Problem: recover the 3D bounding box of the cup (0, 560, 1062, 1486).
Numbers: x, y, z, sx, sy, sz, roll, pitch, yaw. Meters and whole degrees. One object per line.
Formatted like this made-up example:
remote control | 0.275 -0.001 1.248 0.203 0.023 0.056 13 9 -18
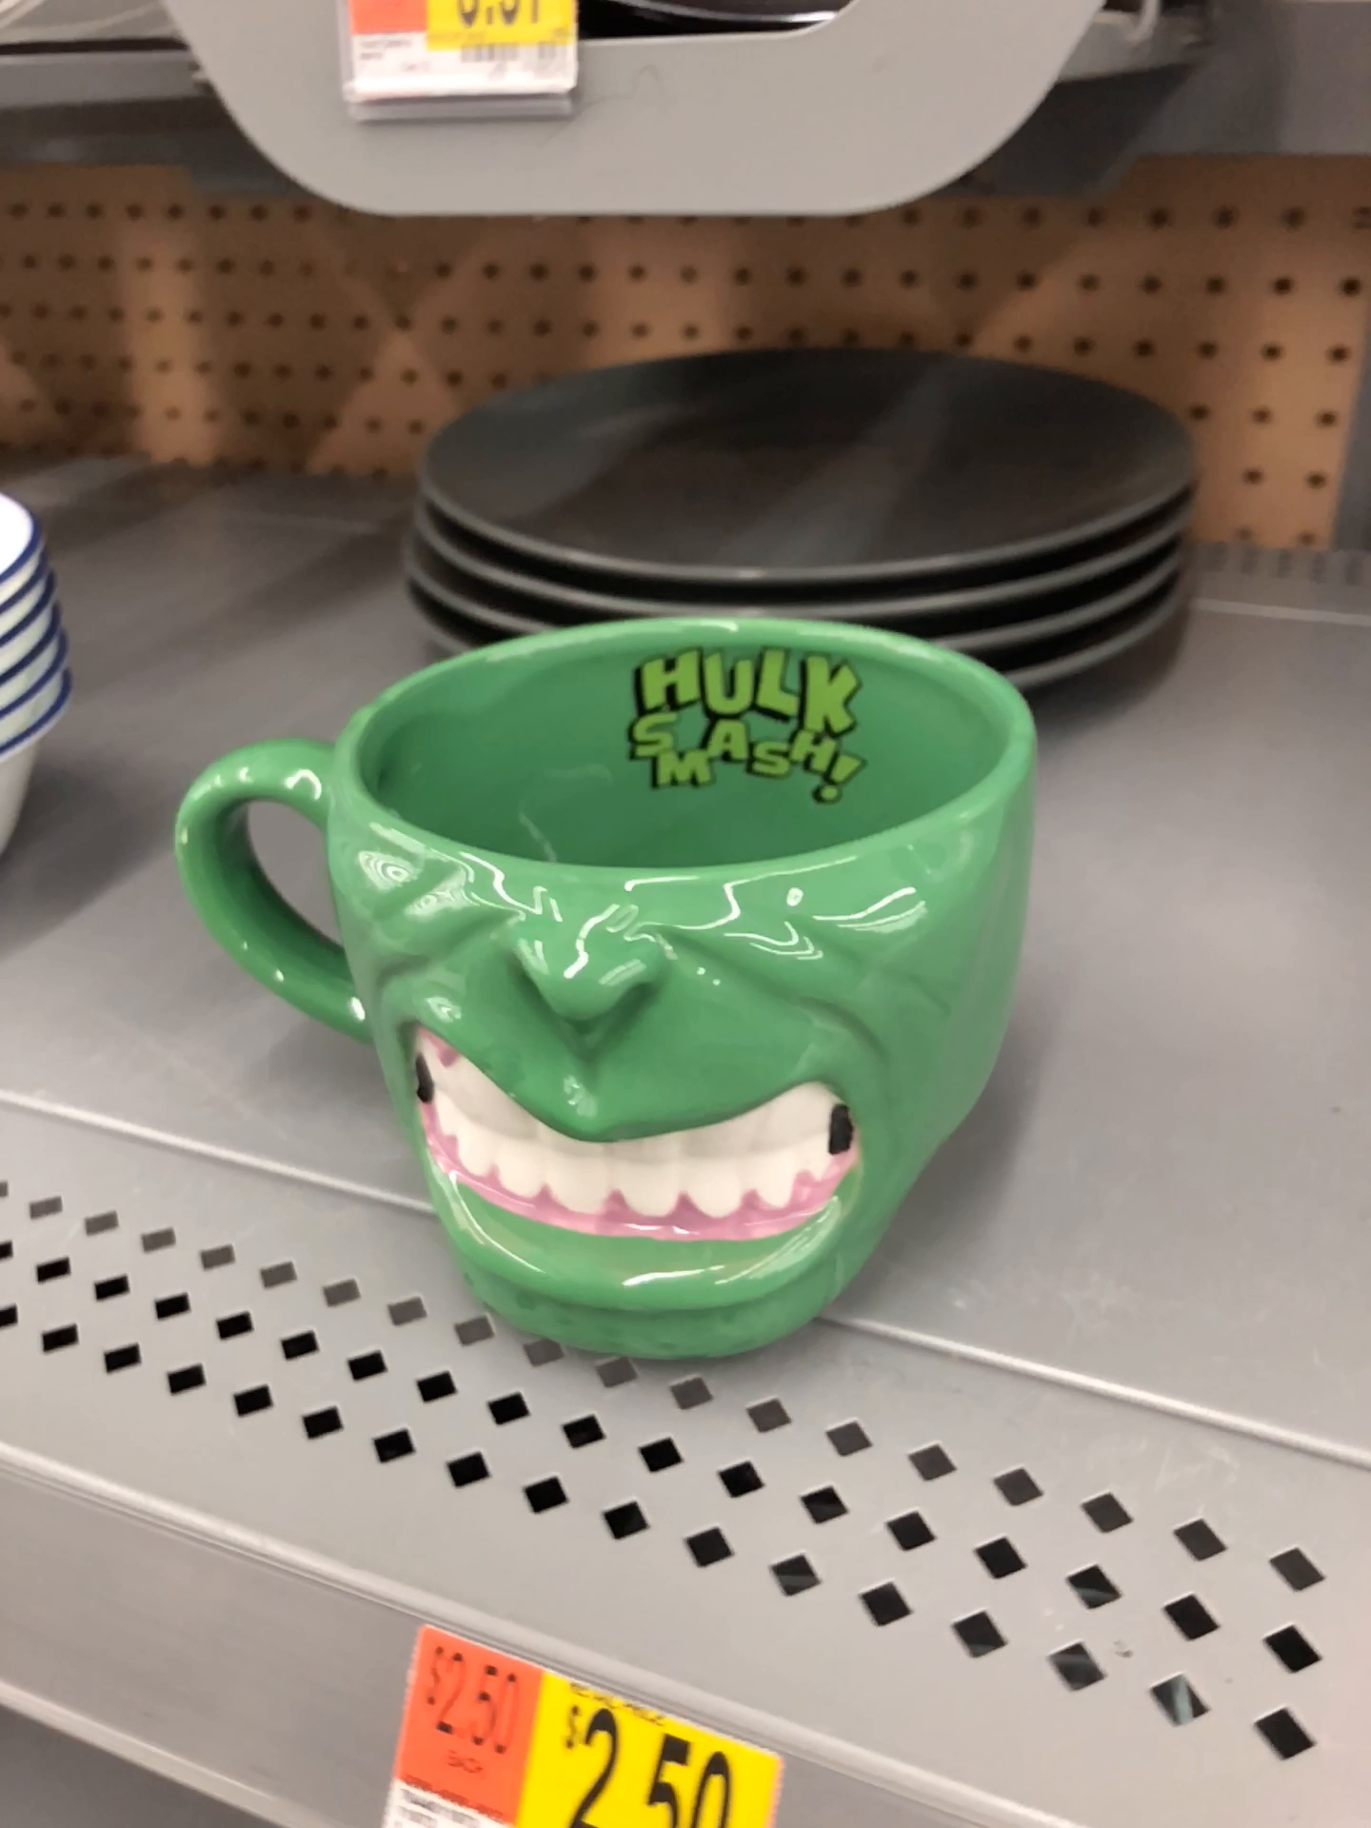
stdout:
cup | -0.021 0.005 0.268 0.148 0.089 0.116 8 32 17
